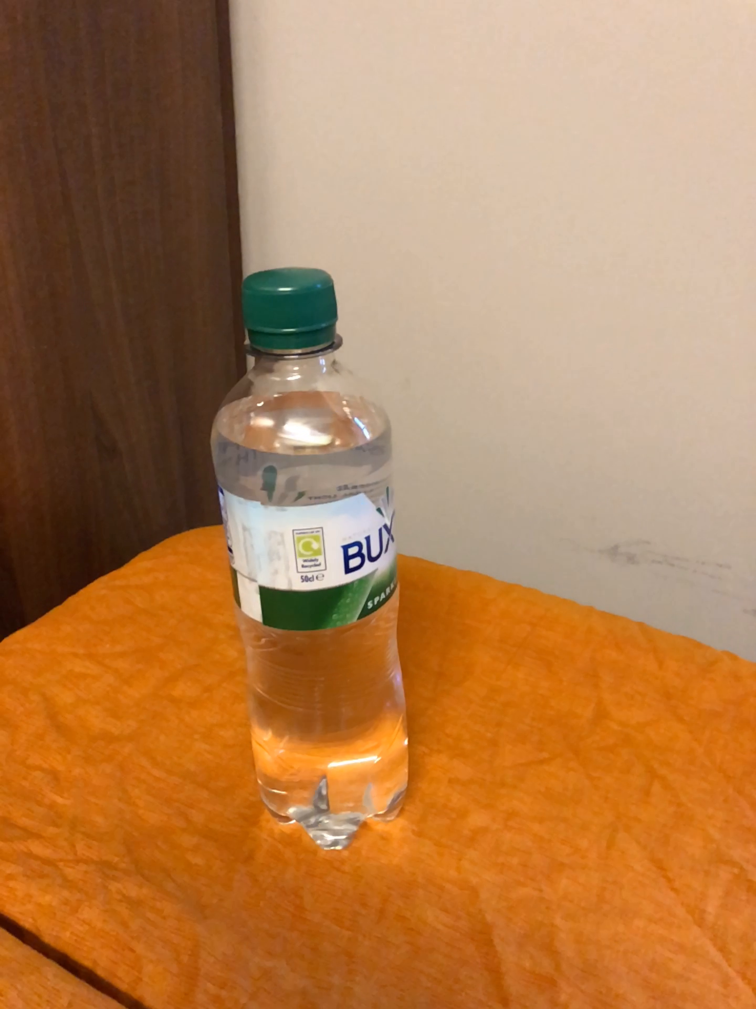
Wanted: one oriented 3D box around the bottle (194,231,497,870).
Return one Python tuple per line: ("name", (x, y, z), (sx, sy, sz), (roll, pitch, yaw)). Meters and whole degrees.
("bottle", (-0.011, 0.020, 0.313), (0.070, 0.218, 0.070), (1, 27, -1))
